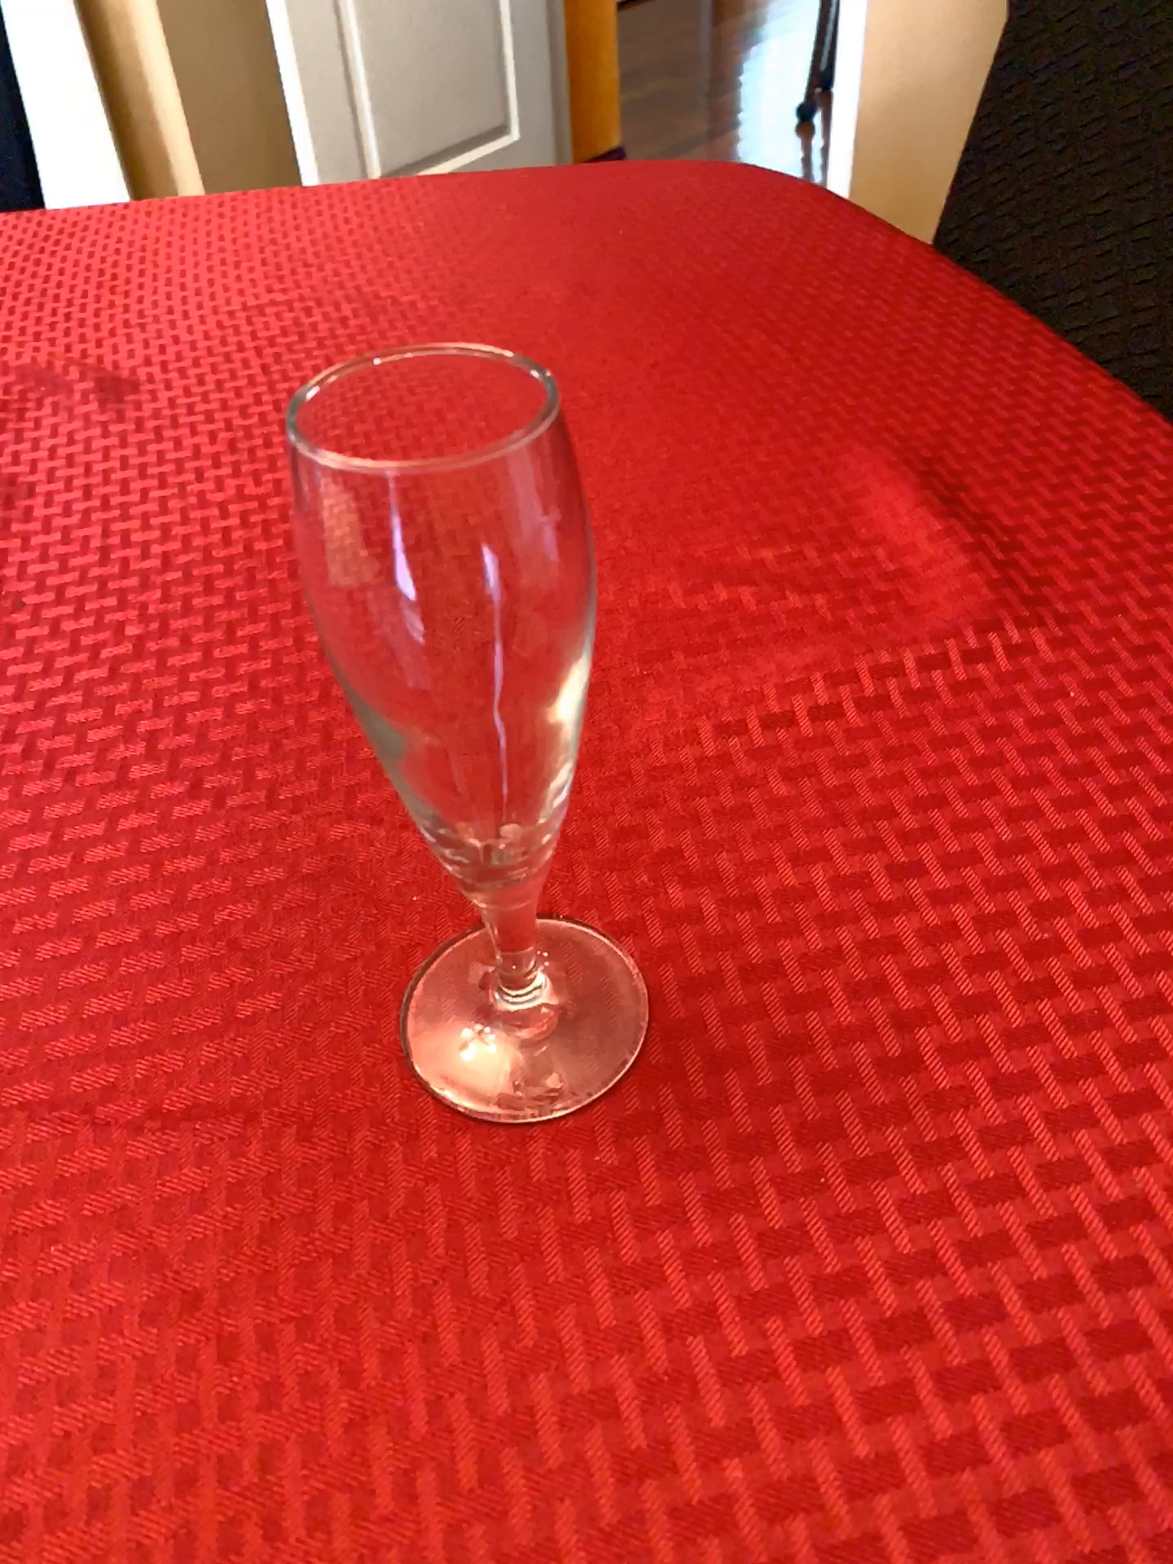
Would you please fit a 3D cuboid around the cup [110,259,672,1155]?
[{"bbox_3d":[-0.026,-0.005,0.264,0.080,0.179,0.080,-2,43,2],"label":"cup"}]
